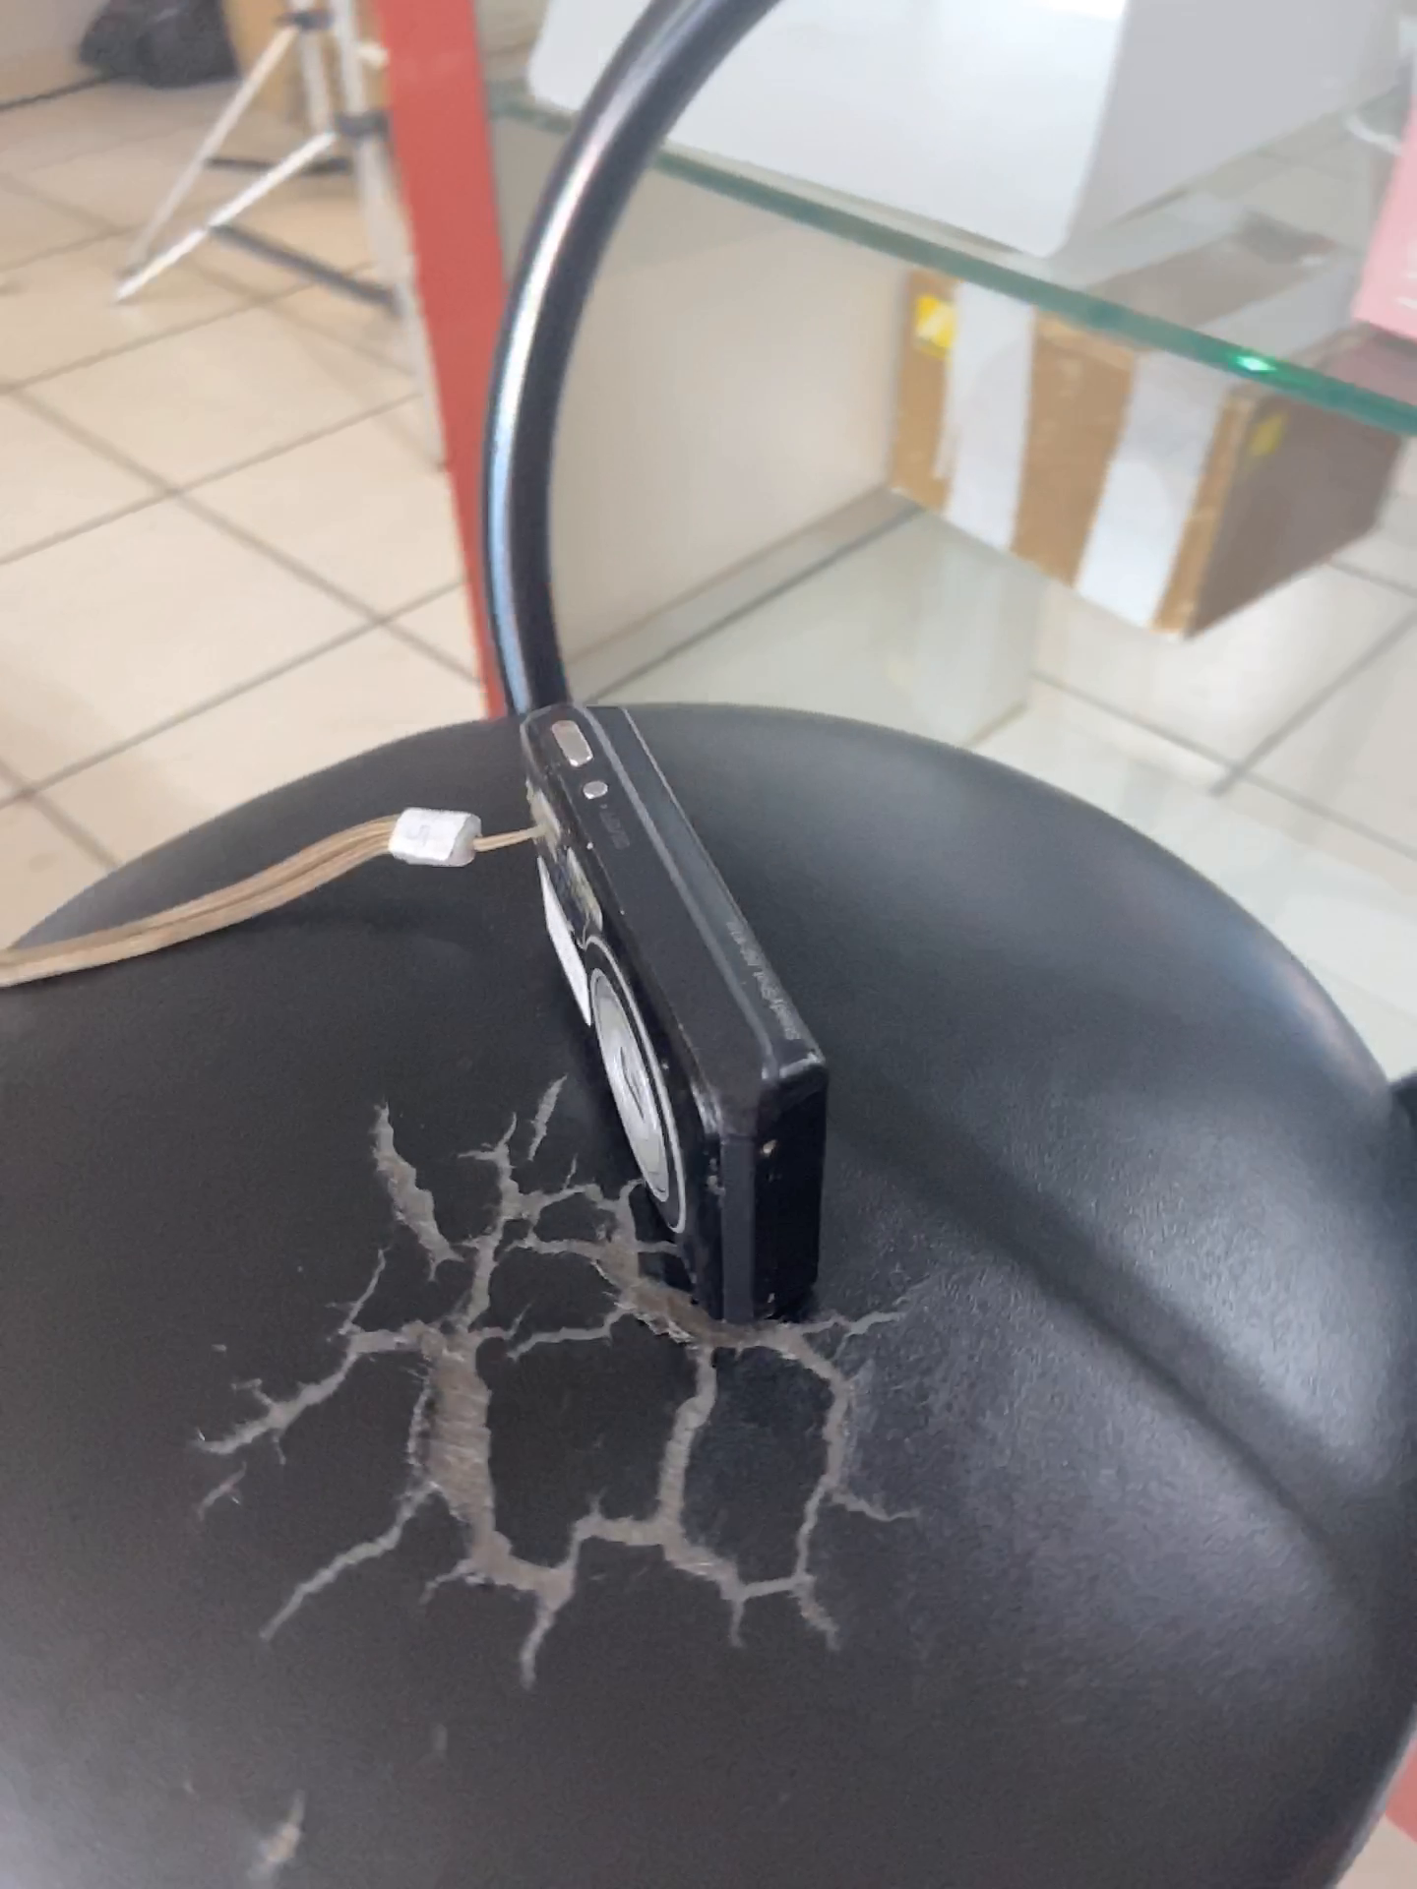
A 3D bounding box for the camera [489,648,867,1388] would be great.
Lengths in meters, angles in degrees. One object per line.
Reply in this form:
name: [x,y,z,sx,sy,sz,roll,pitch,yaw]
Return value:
camera: [-0.009,0.006,0.229,0.020,0.050,0.111,-14,46,-13]
